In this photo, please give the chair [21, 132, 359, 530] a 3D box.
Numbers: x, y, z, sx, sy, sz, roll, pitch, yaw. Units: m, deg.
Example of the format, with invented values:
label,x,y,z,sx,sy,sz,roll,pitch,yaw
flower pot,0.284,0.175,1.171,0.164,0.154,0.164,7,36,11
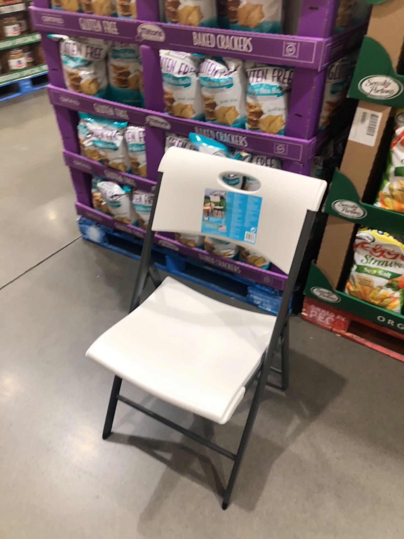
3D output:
label,x,y,z,sx,sy,sz,roll,pitch,yaw
chair,0.011,0.145,1.251,0.546,0.790,0.597,19,42,23
